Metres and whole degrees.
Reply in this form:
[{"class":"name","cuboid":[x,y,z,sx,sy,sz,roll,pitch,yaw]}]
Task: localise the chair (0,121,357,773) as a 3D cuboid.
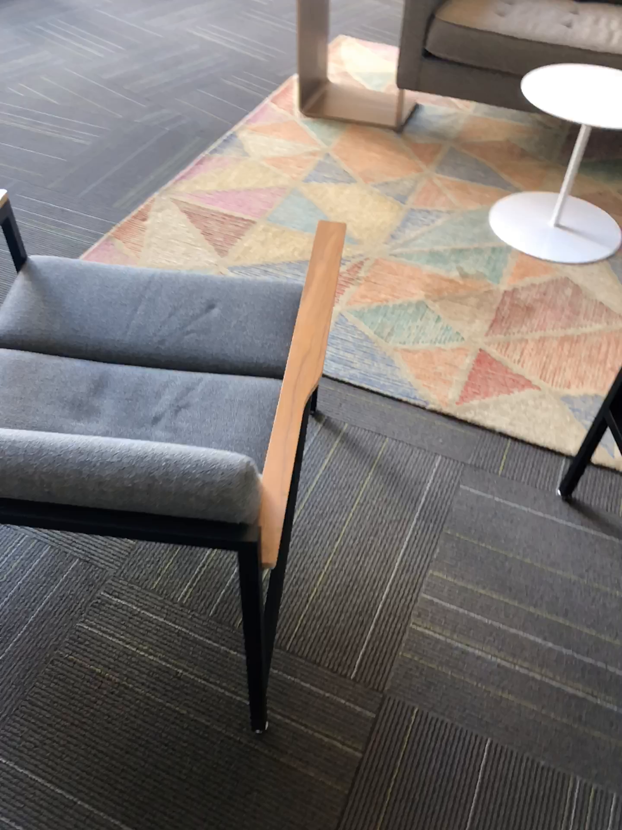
[{"class":"chair","cuboid":[-0.359,0.011,1.288,0.790,0.697,0.924,5,45,3]}]
